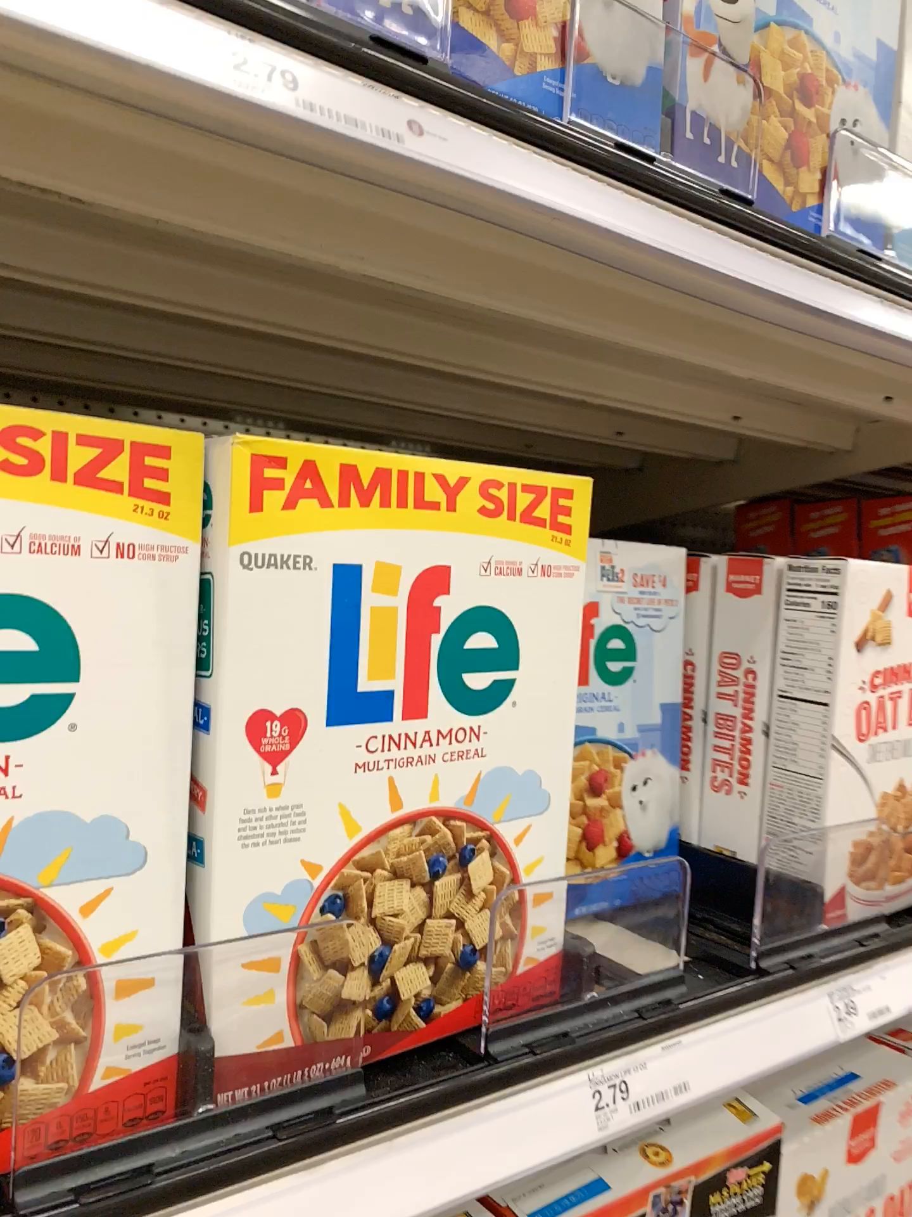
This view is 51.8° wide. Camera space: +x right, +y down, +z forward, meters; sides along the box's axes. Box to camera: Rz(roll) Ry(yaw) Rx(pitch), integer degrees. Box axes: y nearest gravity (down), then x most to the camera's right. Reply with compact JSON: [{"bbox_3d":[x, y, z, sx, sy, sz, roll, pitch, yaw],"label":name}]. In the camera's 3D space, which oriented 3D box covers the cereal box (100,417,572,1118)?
[{"bbox_3d":[-0.050,0.059,0.427,0.190,0.260,0.070,1,3,-34],"label":"cereal box"}]
